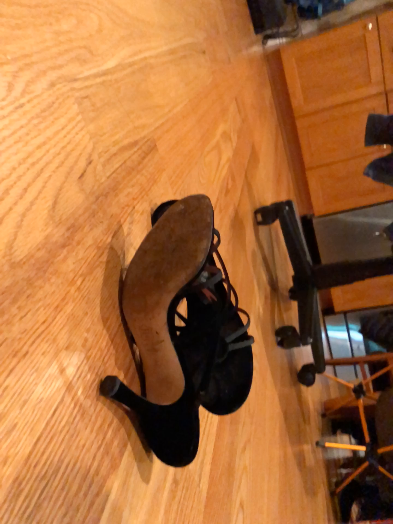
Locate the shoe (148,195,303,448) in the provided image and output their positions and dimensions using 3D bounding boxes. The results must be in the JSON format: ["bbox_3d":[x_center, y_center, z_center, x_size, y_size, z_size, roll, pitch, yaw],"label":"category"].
[{"bbox_3d":[0.032,0.059,0.443,0.102,0.104,0.215,23,57,-69],"label":"shoe"}]

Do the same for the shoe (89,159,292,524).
[{"bbox_3d":[-0.004,0.059,0.328,0.082,0.104,0.235,30,51,-71],"label":"shoe"}]
